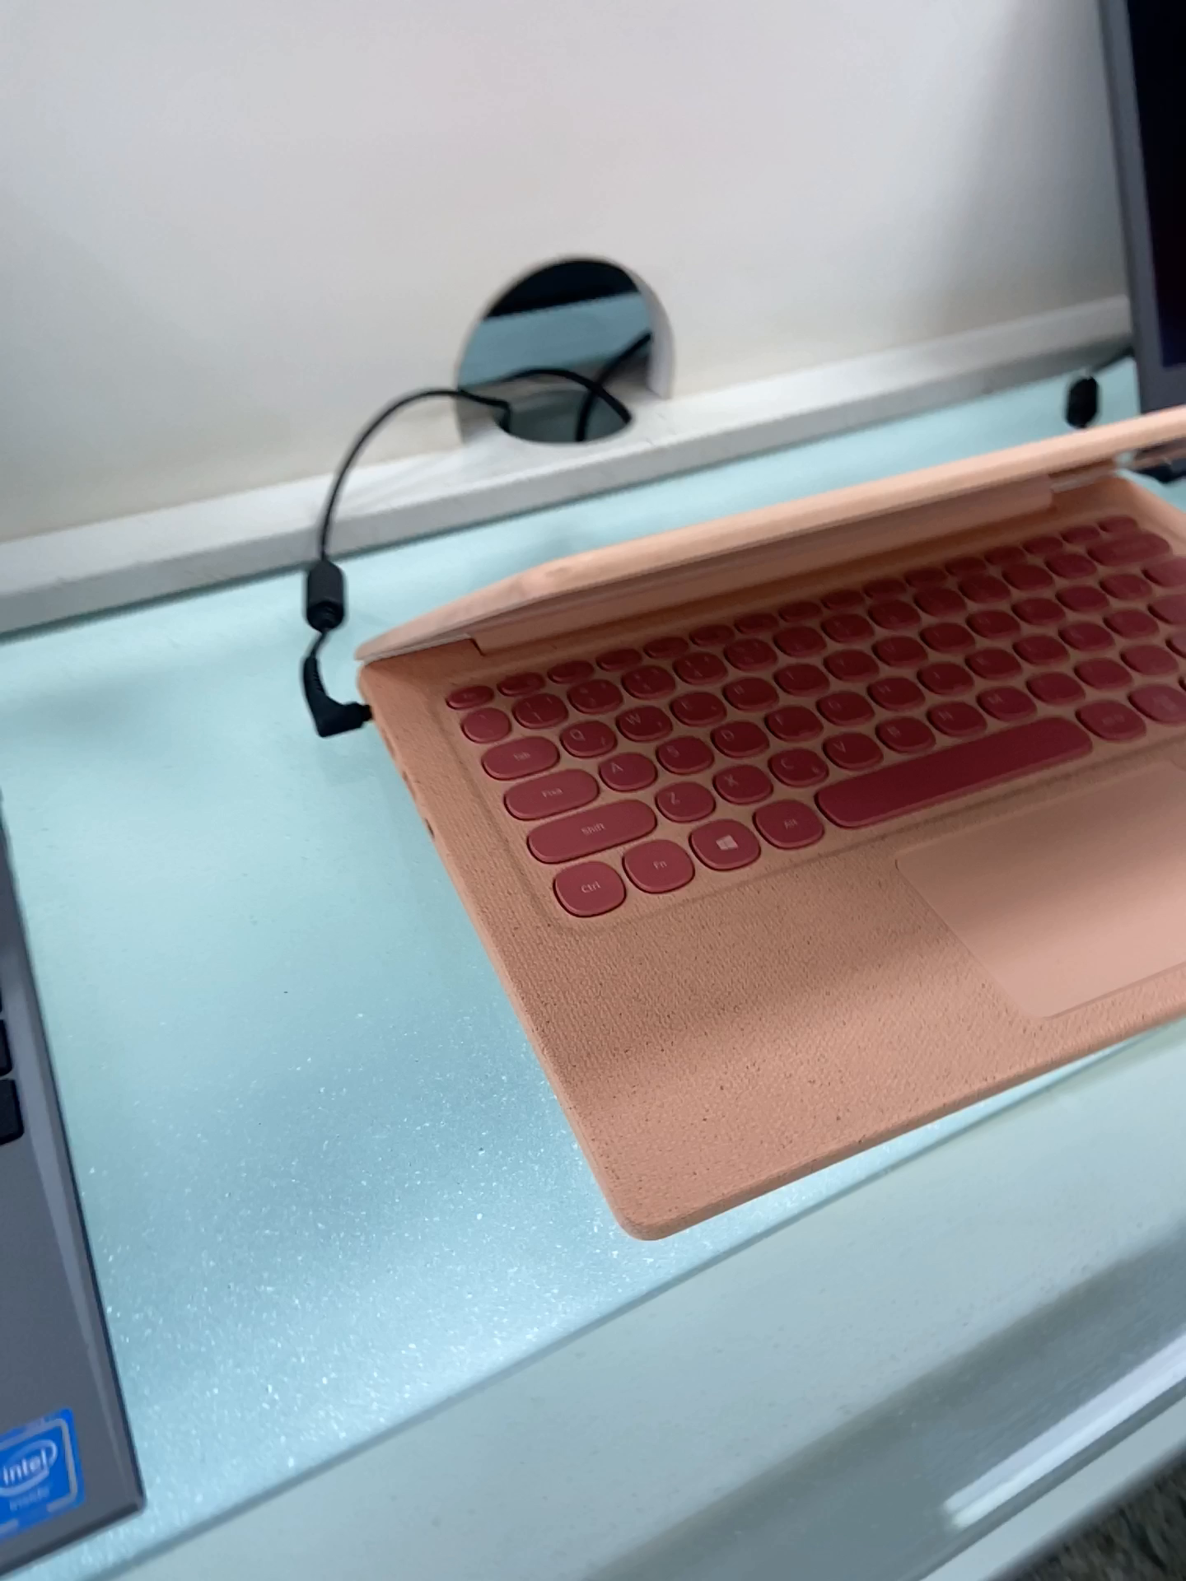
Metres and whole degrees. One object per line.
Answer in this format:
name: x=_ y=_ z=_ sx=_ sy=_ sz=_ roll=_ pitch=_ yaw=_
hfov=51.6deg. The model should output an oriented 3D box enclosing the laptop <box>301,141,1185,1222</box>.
laptop: x=0.115 y=-0.066 z=0.337 sx=0.323 sy=0.129 sz=0.211 roll=-16 pitch=44 yaw=-18
